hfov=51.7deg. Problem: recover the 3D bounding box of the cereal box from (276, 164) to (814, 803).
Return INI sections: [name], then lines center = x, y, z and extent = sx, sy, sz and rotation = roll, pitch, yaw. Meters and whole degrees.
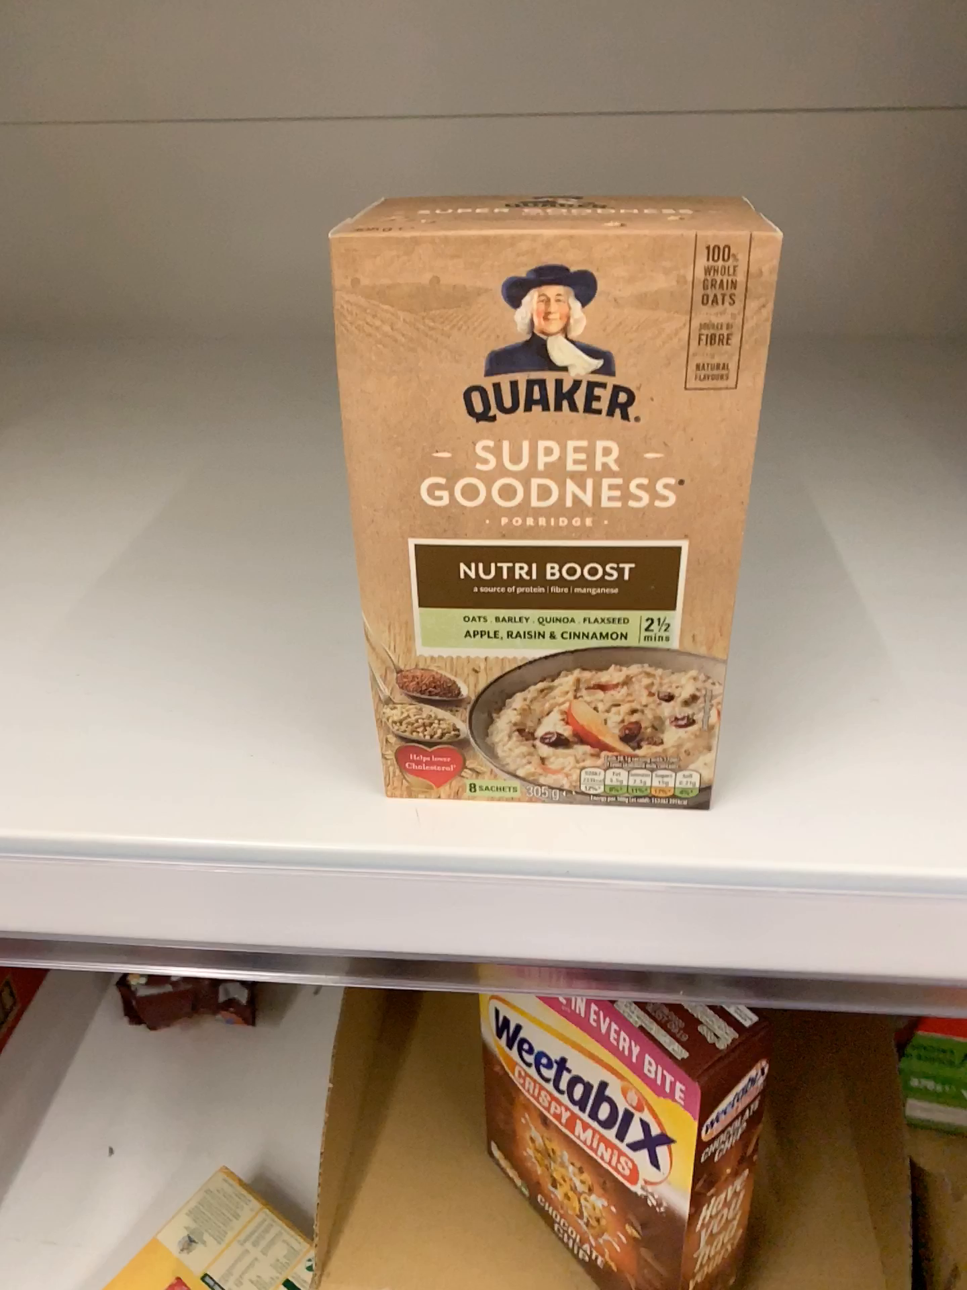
[cereal box]
center = 0.019, -0.050, 0.340
extent = 0.140, 0.198, 0.071
rotation = 2, 31, 5
